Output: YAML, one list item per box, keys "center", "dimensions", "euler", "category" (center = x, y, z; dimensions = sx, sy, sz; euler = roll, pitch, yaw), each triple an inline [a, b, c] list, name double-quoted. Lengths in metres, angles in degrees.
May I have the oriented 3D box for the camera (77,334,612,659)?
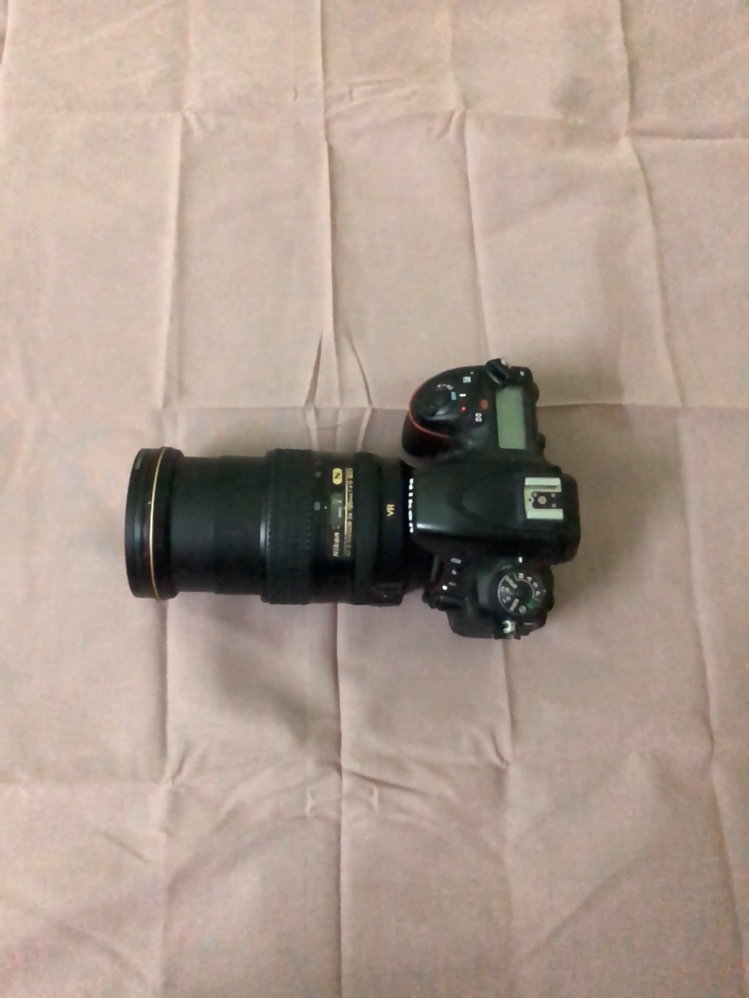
- center: [-0.015, 0.007, 0.429]
  dimensions: [0.231, 0.110, 0.139]
  euler: [1, 74, -5]
  category: "camera"
